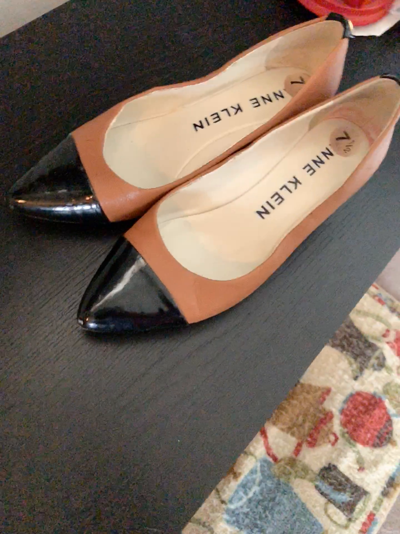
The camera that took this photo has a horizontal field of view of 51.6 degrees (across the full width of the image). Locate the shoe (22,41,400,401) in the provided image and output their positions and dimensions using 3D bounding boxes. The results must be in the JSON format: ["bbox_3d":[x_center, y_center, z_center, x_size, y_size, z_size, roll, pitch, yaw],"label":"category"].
[{"bbox_3d":[0.037,-0.034,0.280,0.261,0.100,0.092,-34,77,-19],"label":"shoe"}]

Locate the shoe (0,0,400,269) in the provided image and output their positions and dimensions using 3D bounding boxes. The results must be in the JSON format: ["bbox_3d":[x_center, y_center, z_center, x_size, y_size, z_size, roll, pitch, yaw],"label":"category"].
[{"bbox_3d":[-0.007,-0.102,0.286,0.261,0.080,0.093,-23,74,-17],"label":"shoe"}]
